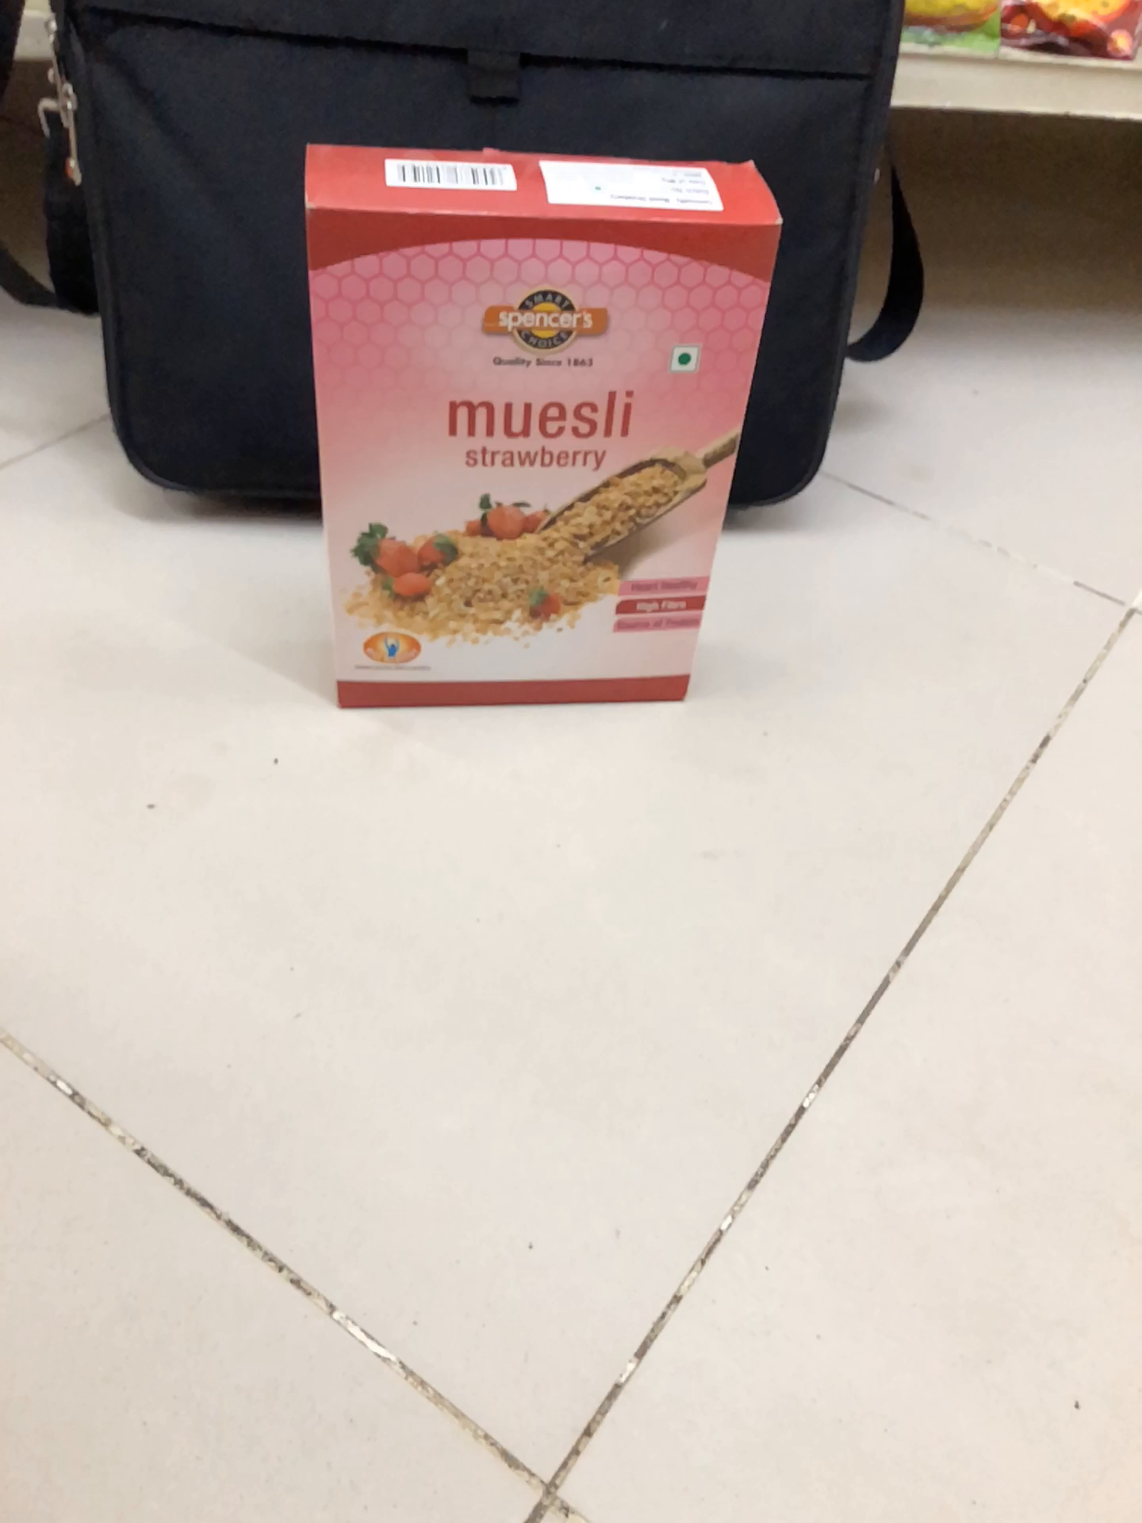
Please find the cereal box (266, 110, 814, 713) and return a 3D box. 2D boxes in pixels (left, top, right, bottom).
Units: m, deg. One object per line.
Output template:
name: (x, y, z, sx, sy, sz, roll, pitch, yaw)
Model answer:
cereal box: (-0.022, -0.140, 0.569, 0.200, 0.258, 0.060, -2, 45, -8)
